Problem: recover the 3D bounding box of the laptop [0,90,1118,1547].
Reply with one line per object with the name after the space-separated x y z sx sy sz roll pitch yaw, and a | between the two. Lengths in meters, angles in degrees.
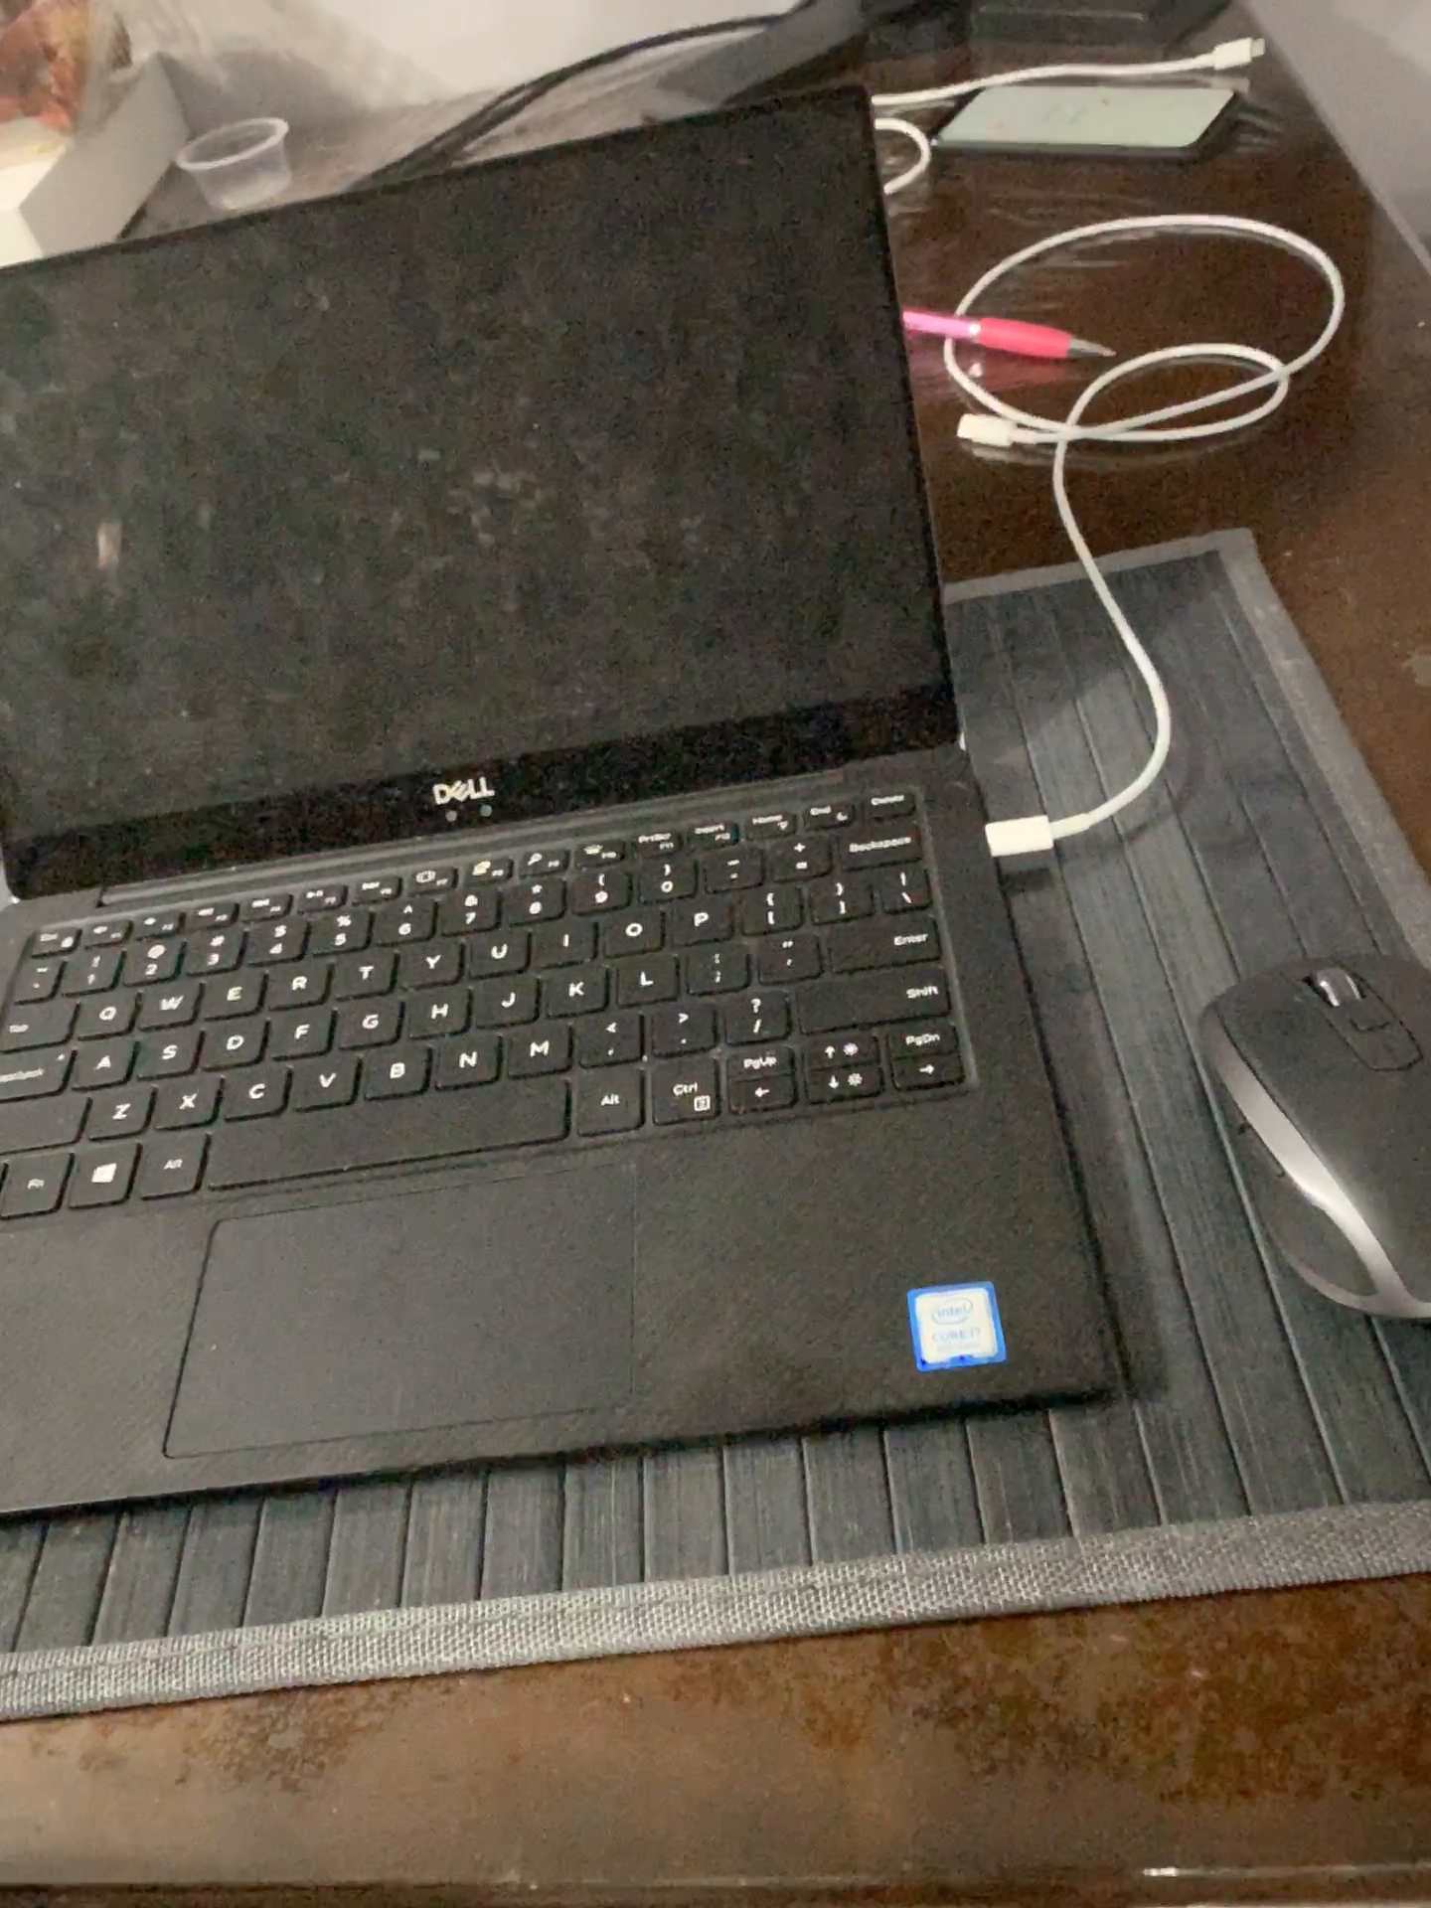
-0.082 -0.051 0.345 0.281 0.129 0.299 -9 46 7 | laptop
